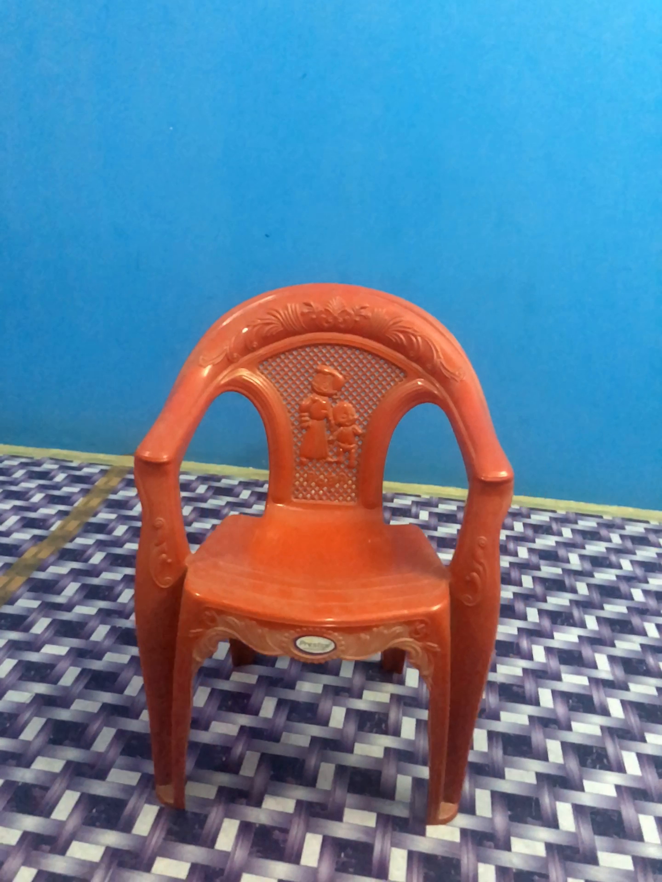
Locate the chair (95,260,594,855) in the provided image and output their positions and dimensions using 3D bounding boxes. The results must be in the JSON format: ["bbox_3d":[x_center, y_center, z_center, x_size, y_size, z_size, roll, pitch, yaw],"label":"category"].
[{"bbox_3d":[0.005,0.109,0.878,0.410,0.557,0.382,4,22,2],"label":"chair"}]
